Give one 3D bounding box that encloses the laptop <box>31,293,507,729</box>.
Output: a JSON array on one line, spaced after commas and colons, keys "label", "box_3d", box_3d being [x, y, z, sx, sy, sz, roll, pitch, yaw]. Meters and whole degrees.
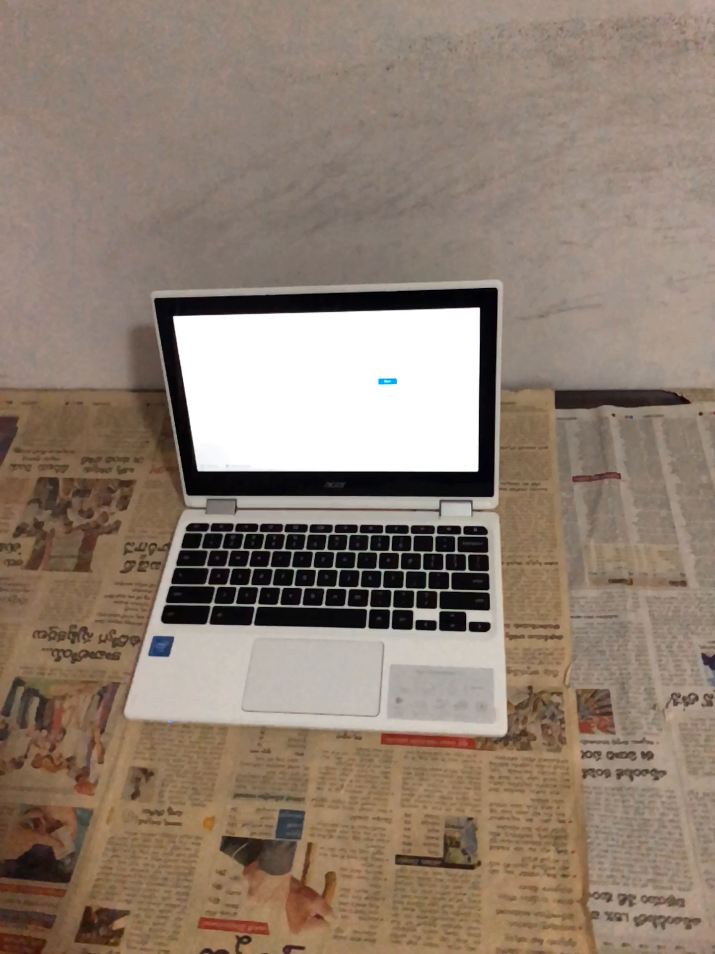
[{"label": "laptop", "box_3d": [-0.033, 0.017, 0.590, 0.268, 0.168, 0.279, 0, 49, 7]}]
